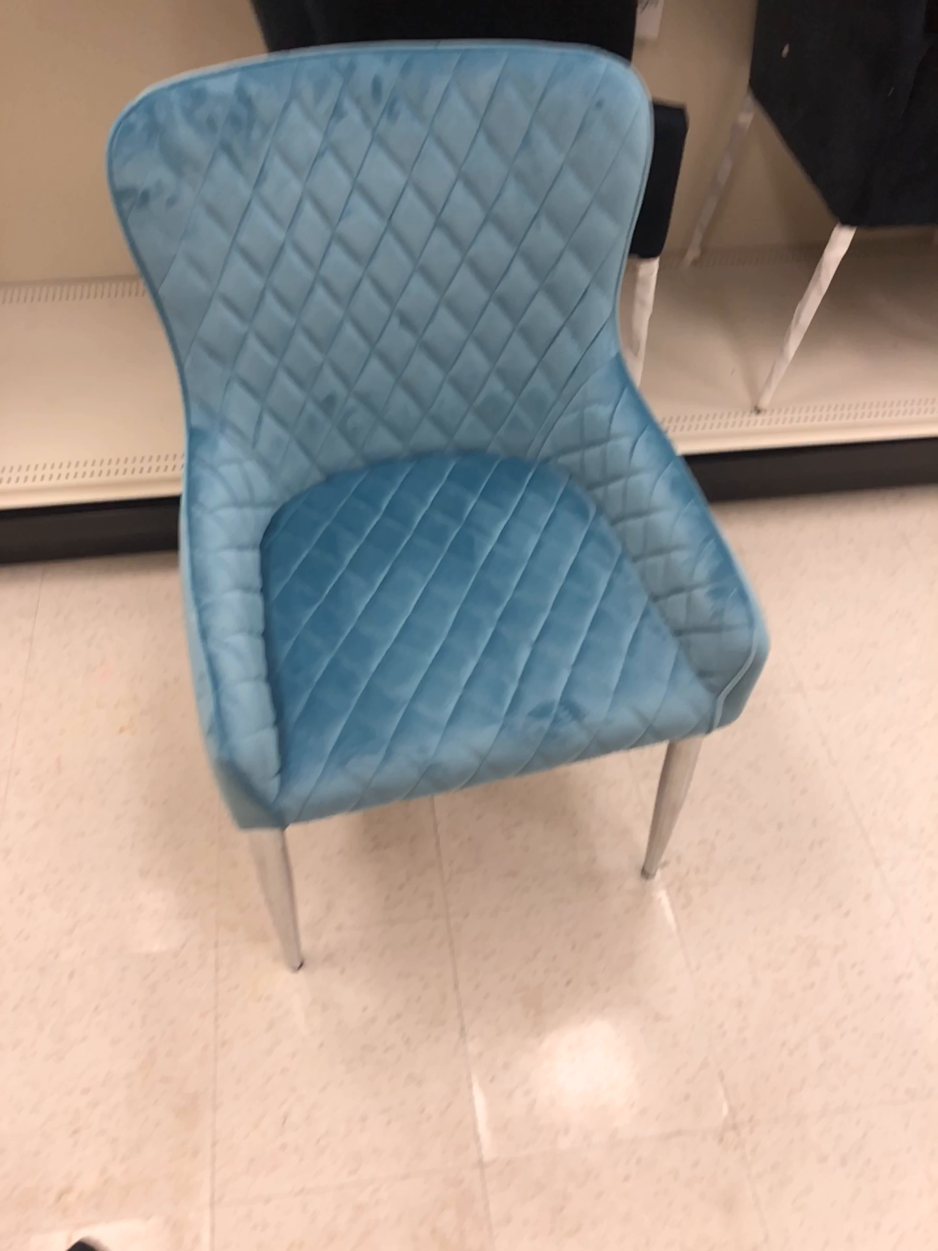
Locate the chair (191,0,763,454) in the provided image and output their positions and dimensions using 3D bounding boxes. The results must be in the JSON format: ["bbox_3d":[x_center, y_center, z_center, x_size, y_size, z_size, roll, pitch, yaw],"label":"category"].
[{"bbox_3d":[-0.007,-0.740,1.526,0.580,0.778,0.562,-1,50,-2],"label":"chair"}]

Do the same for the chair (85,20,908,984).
[{"bbox_3d":[-0.039,-0.097,1.201,0.560,0.871,0.585,-10,51,-10],"label":"chair"}]
